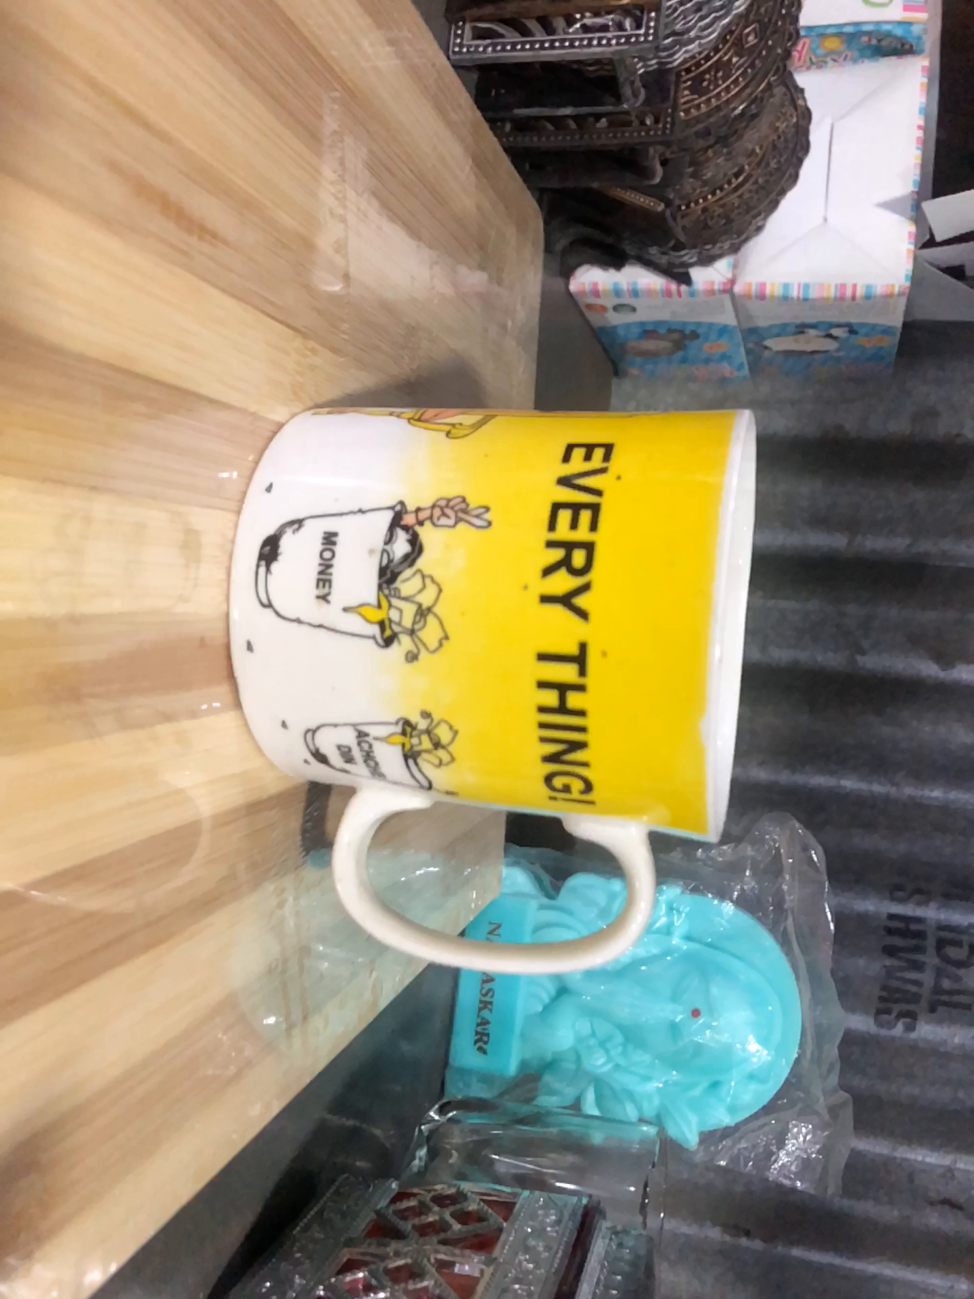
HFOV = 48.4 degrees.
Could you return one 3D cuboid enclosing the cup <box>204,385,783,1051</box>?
[{"bbox_3d":[0.005,0.006,0.224,0.070,0.100,0.110,-31,124,-73],"label":"cup"}]
